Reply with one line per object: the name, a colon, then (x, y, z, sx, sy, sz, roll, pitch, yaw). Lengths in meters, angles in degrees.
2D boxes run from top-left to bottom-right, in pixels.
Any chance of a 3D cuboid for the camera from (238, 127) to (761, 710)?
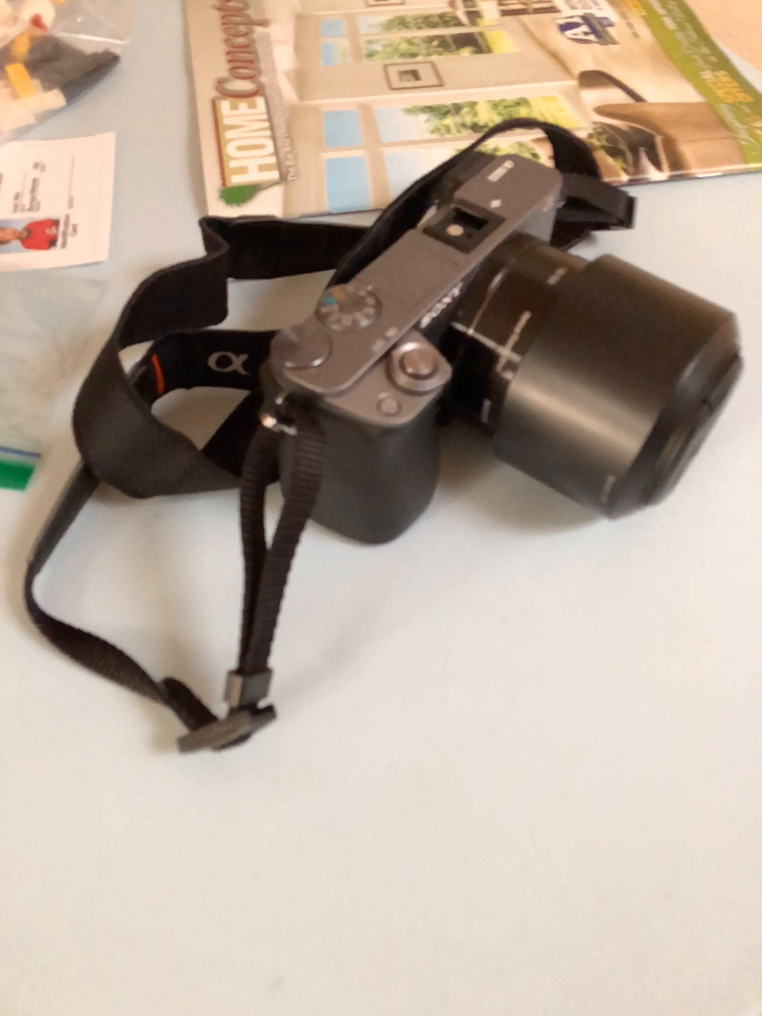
camera: (0.046, -0.034, 0.250, 0.110, 0.070, 0.130, 34, 61, 19)
